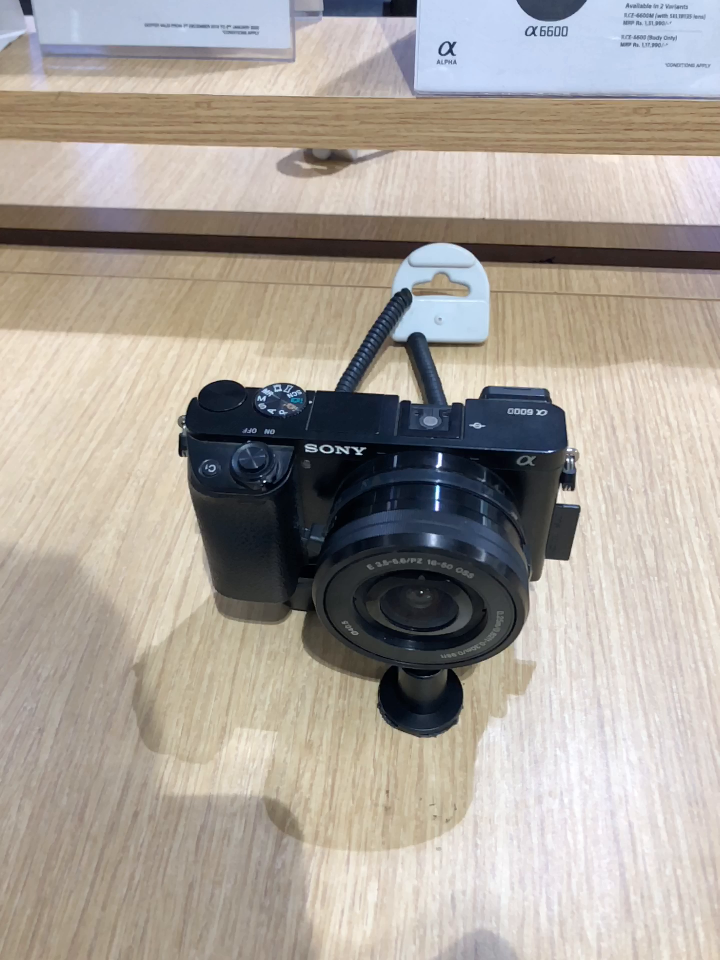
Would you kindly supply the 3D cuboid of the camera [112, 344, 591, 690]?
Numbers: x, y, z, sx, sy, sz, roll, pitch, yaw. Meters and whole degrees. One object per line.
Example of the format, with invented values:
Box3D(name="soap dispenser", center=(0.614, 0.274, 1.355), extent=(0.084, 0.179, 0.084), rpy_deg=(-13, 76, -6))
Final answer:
Box3D(name="camera", center=(0.000, 0.010, 0.223), extent=(0.107, 0.070, 0.059), rpy_deg=(3, 44, 5))
